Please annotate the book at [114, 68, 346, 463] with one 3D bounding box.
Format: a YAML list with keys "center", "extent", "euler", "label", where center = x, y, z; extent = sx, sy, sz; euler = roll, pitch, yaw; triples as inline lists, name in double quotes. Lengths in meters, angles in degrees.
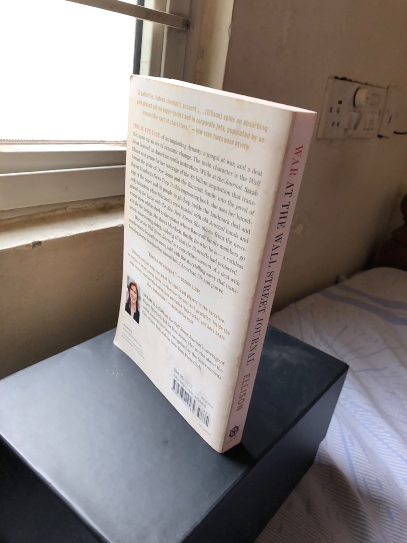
- center: [-0.005, -0.012, 0.285]
  extent: [0.030, 0.199, 0.150]
  euler: [-10, 28, -36]
  label: "book"
